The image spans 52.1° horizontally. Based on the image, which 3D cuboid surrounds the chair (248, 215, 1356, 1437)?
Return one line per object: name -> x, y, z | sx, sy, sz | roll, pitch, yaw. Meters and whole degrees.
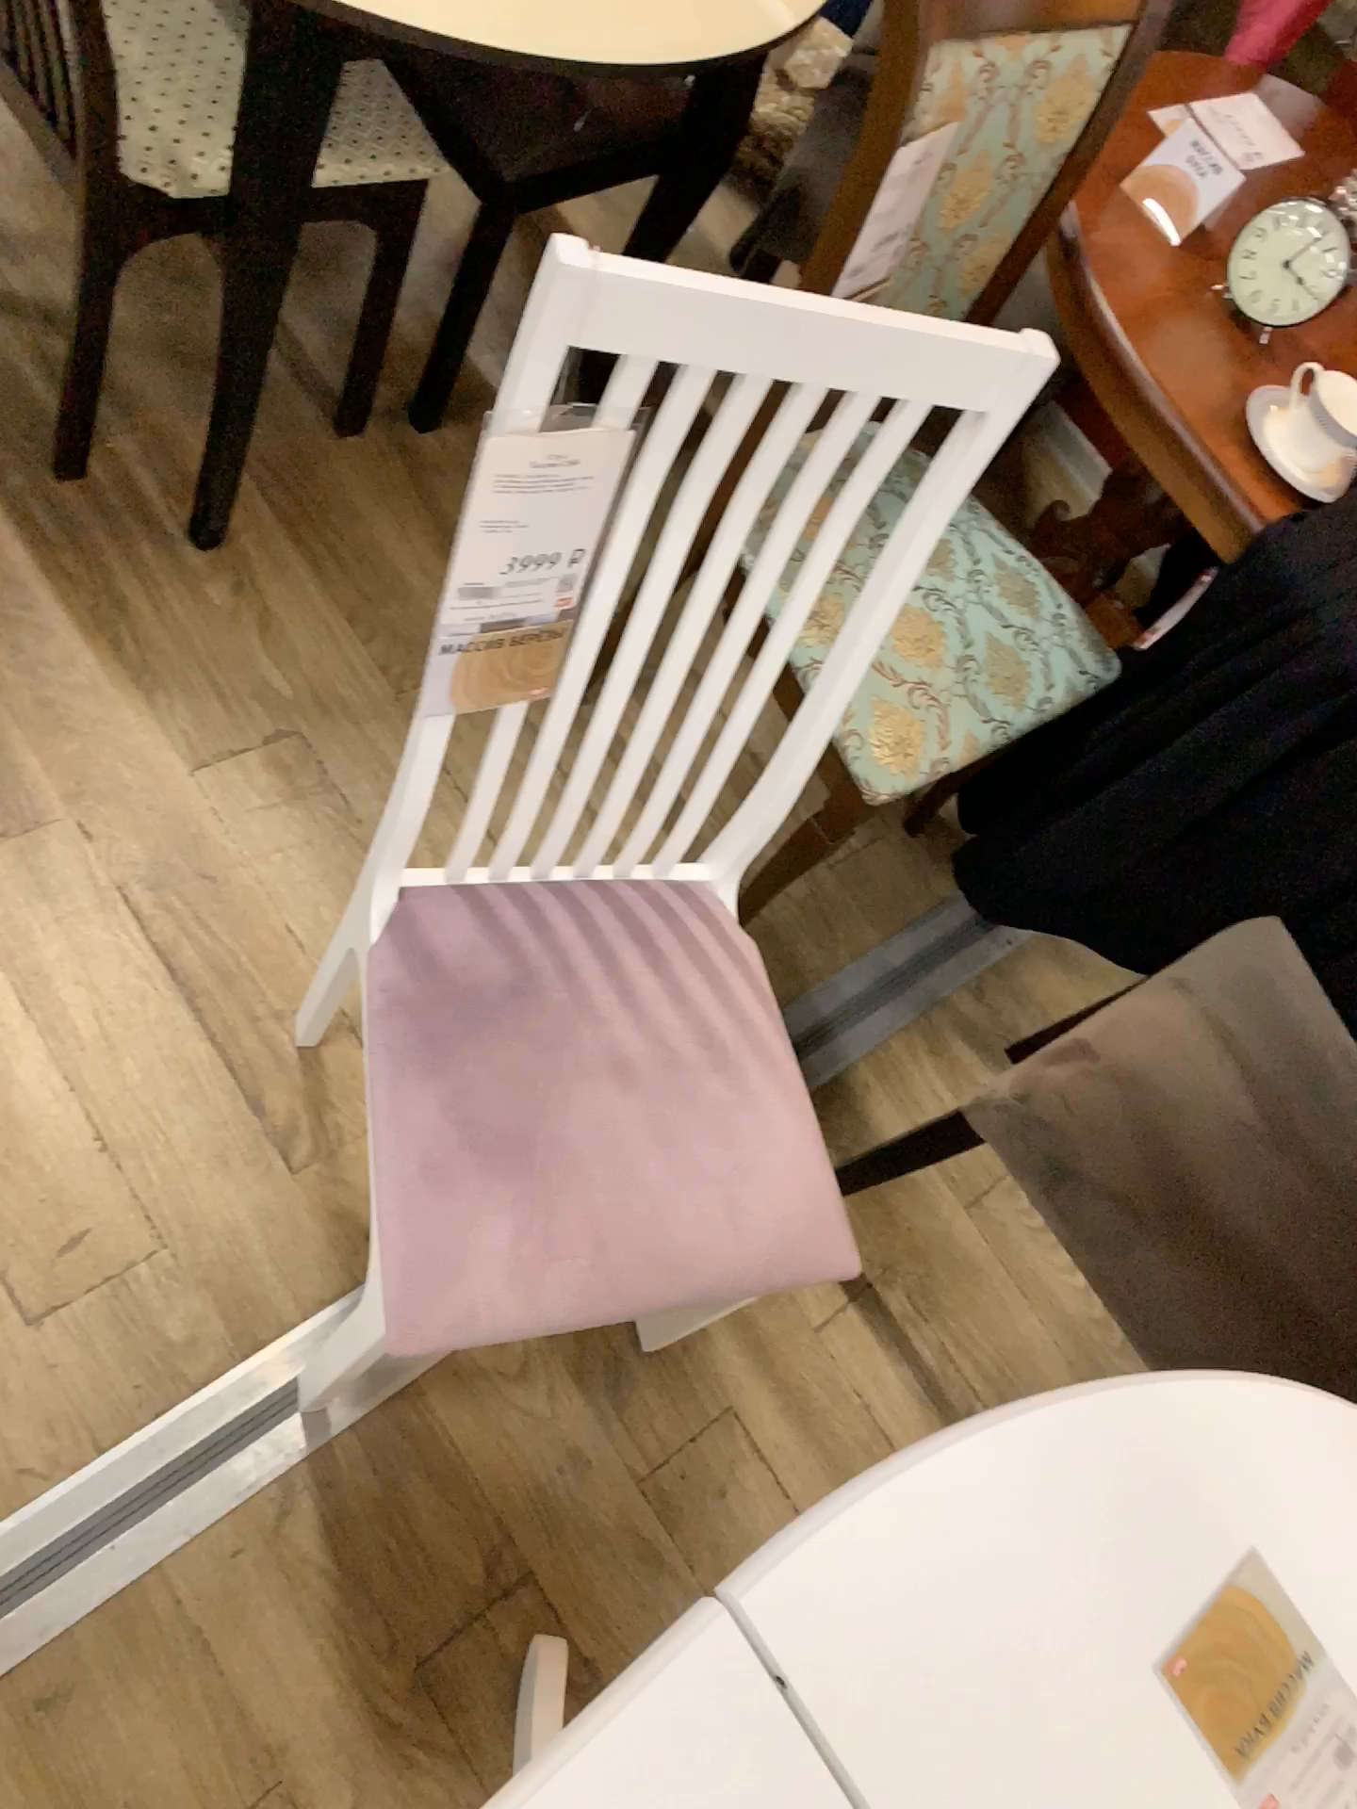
chair -> -0.037, 0.072, 1.156 | 0.441, 1.004, 0.521 | -2, 66, -26
